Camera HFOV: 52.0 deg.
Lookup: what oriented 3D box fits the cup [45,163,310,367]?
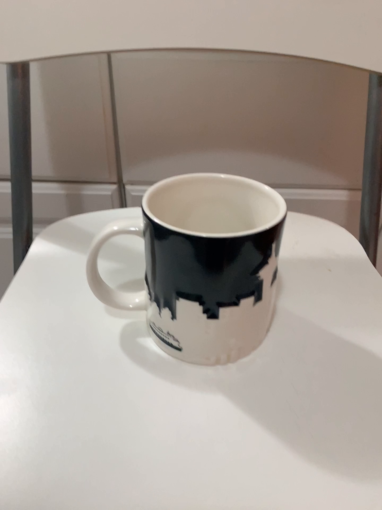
[{"bbox_3d":[-0.007,0.005,0.284,0.143,0.100,0.105,1,39,0],"label":"cup"}]
